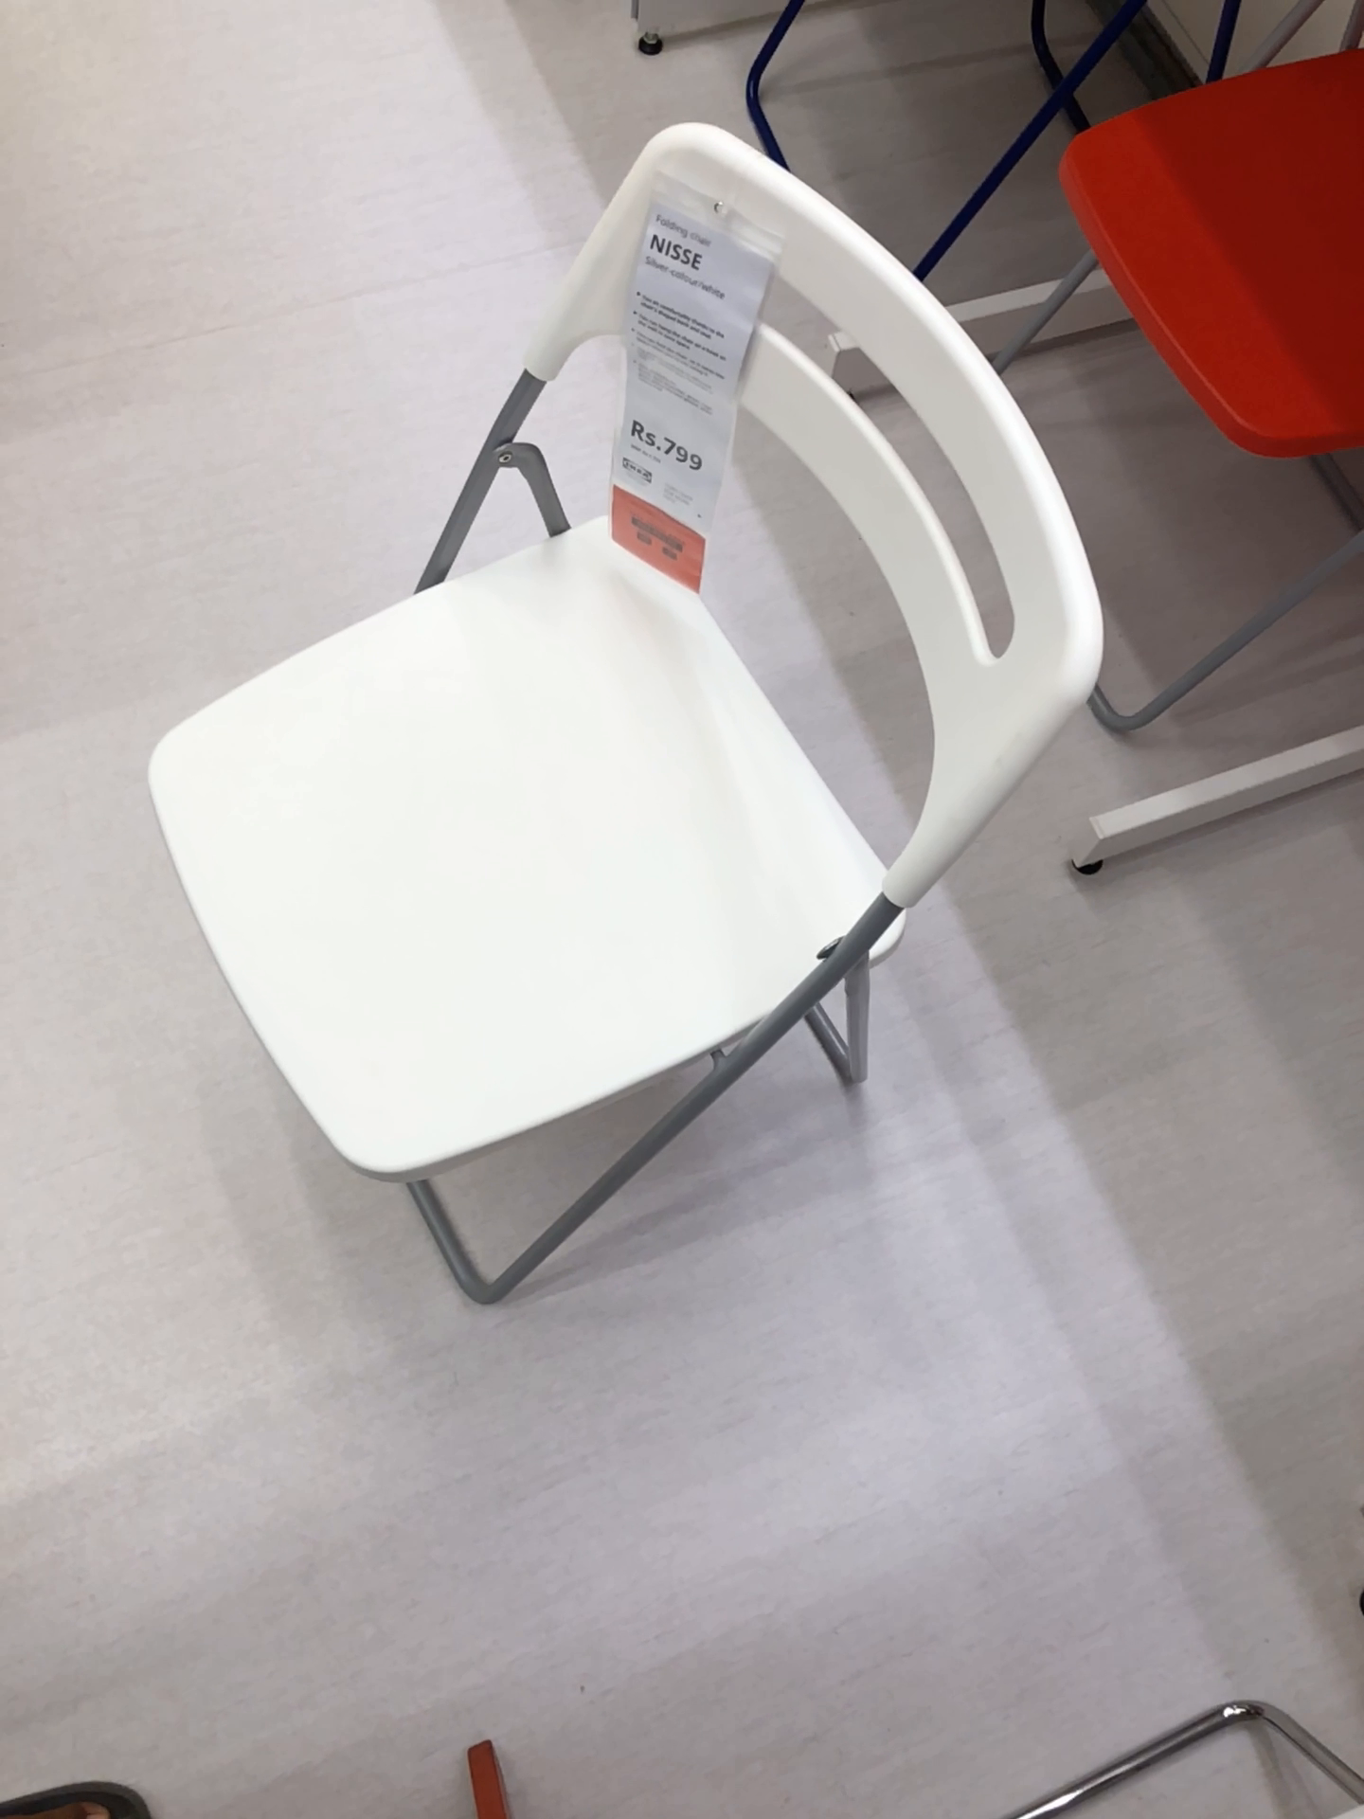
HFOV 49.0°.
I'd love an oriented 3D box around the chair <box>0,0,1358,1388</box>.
[{"bbox_3d":[-0.067,-0.070,1.018,0.541,0.668,0.501,-28,73,-15],"label":"chair"}]
